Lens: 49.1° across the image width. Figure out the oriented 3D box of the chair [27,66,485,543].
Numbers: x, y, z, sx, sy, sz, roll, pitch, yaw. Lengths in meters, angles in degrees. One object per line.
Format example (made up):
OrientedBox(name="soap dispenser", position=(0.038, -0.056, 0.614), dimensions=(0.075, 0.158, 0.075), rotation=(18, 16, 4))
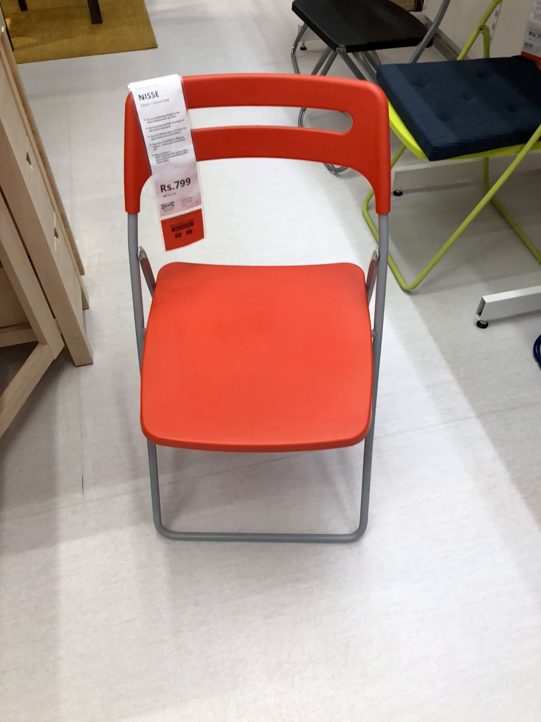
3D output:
OrientedBox(name="chair", position=(-0.011, -0.063, 0.973), dimensions=(0.450, 0.606, 0.493), rotation=(0, 50, 1))
